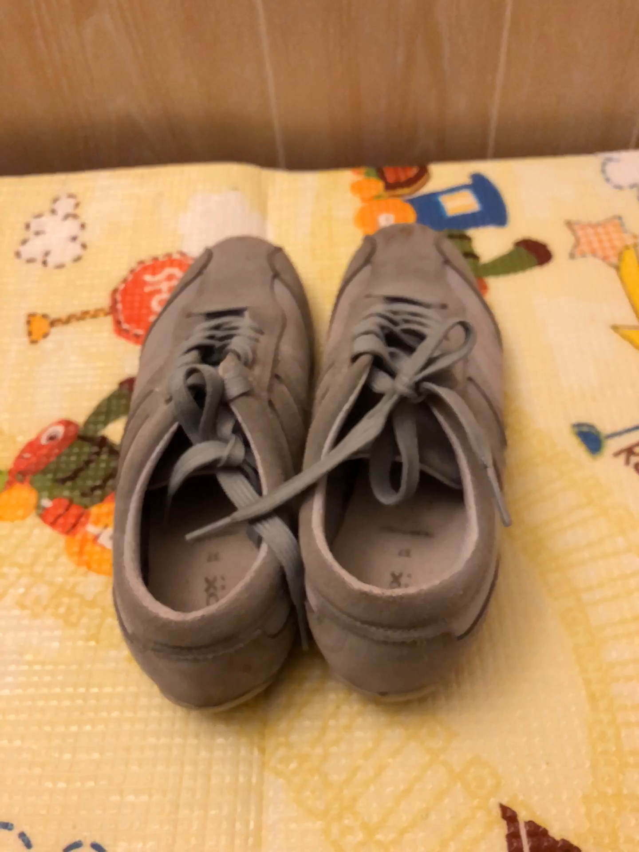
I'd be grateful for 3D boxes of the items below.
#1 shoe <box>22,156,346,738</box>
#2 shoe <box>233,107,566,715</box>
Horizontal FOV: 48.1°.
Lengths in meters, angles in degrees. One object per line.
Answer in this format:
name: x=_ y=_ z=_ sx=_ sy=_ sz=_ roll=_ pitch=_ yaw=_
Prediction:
shoe: x=-0.043 y=0.003 z=0.325 sx=0.090 sy=0.119 sz=0.231 roll=-4 pitch=54 yaw=2
shoe: x=0.040 y=-0.016 z=0.308 sx=0.090 sy=0.119 sz=0.231 roll=4 pitch=55 yaw=8
